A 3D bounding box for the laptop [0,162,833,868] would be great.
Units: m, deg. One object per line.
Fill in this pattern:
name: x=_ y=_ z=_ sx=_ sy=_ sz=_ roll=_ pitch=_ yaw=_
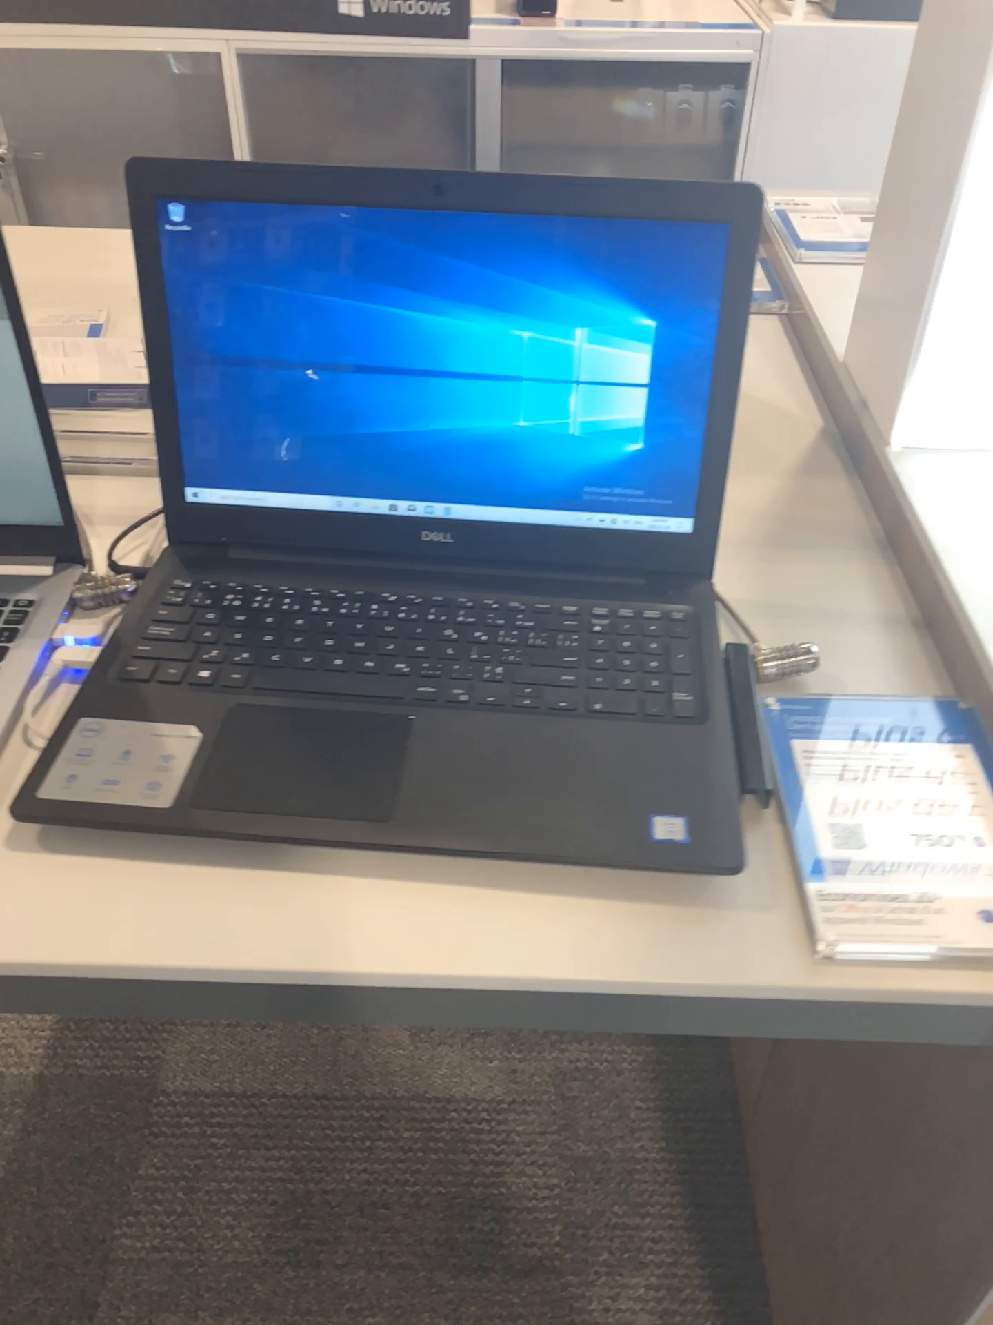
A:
laptop: x=-0.051 y=-0.099 z=0.596 sx=0.368 sy=0.230 sz=0.311 roll=4 pitch=39 yaw=3
